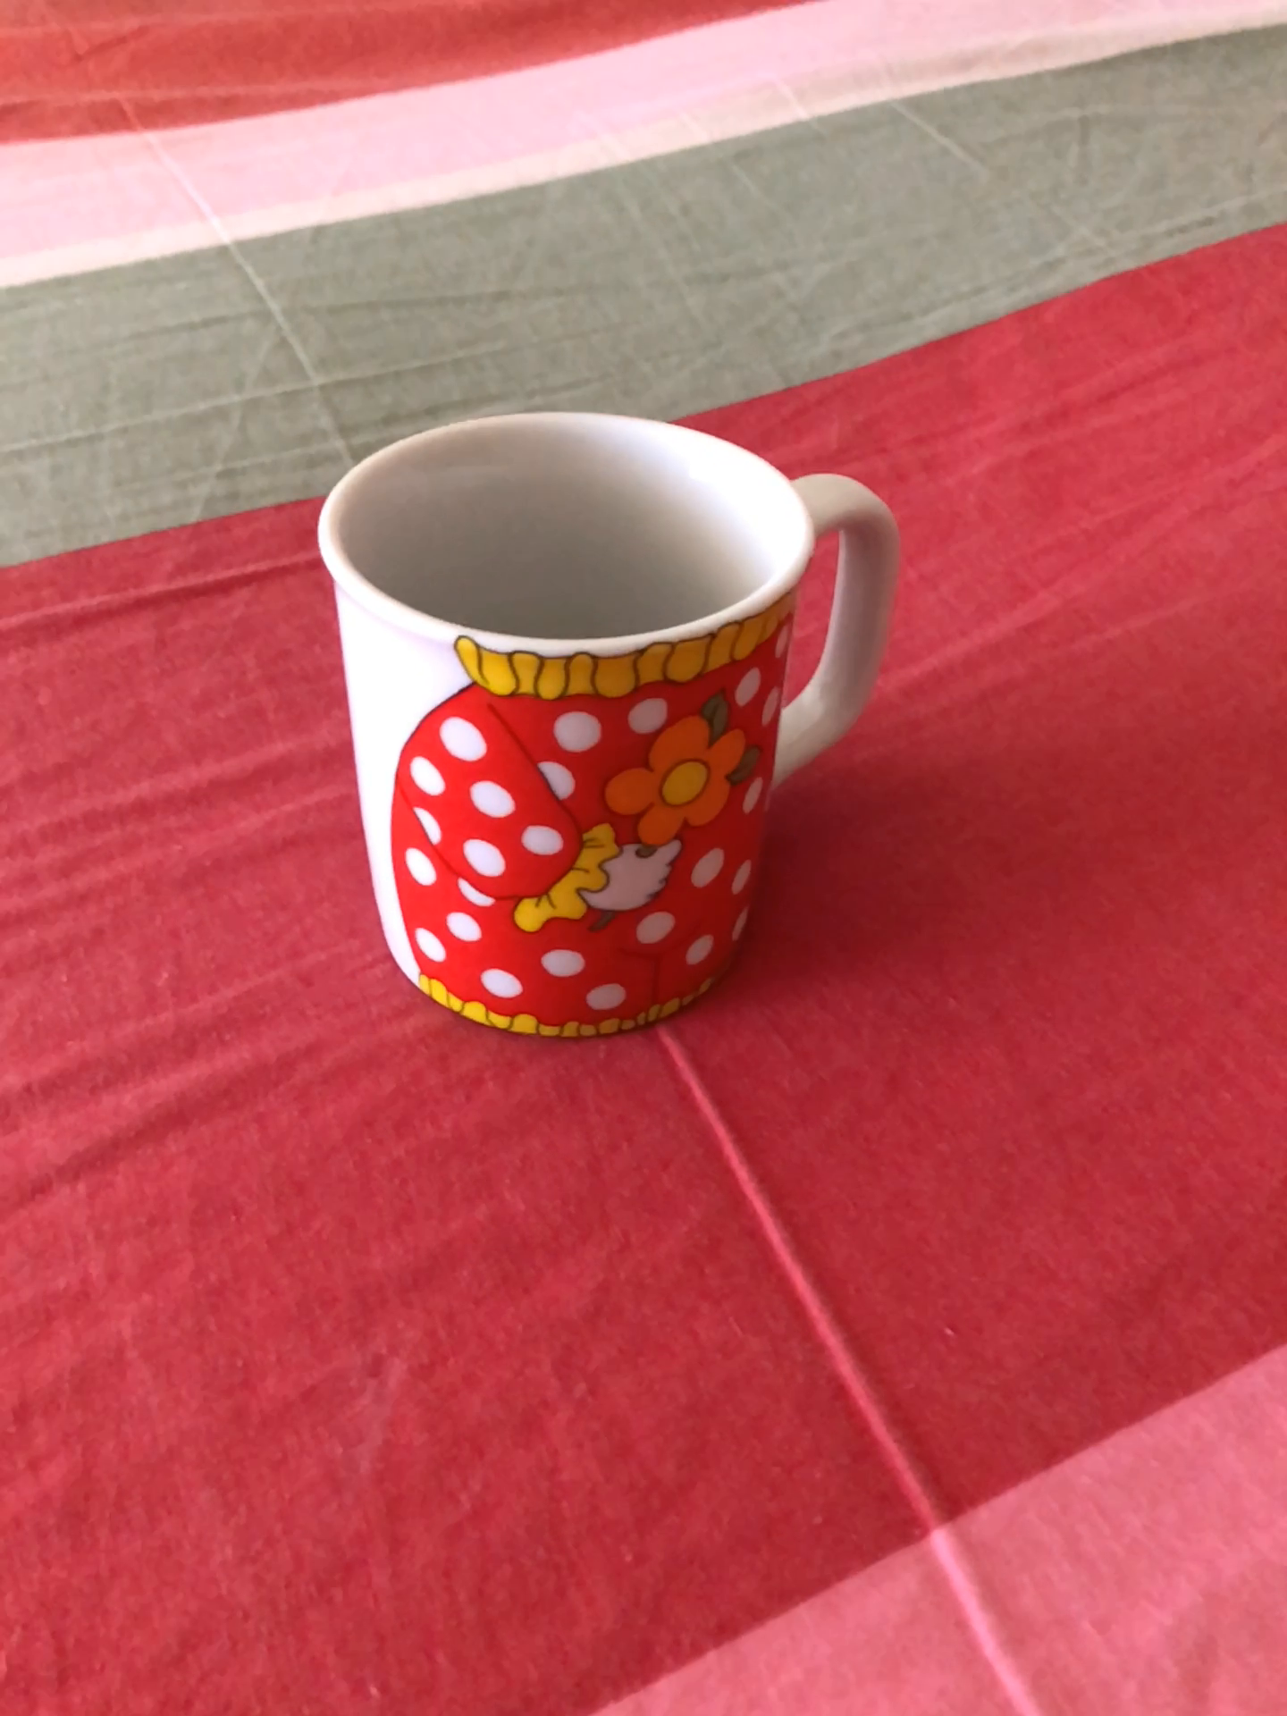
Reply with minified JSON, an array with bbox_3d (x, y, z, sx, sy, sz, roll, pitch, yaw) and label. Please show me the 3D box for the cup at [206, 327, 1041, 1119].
[{"bbox_3d":[-0.004,-0.033,0.277,0.116,0.086,0.089,-29,50,-31],"label":"cup"}]
